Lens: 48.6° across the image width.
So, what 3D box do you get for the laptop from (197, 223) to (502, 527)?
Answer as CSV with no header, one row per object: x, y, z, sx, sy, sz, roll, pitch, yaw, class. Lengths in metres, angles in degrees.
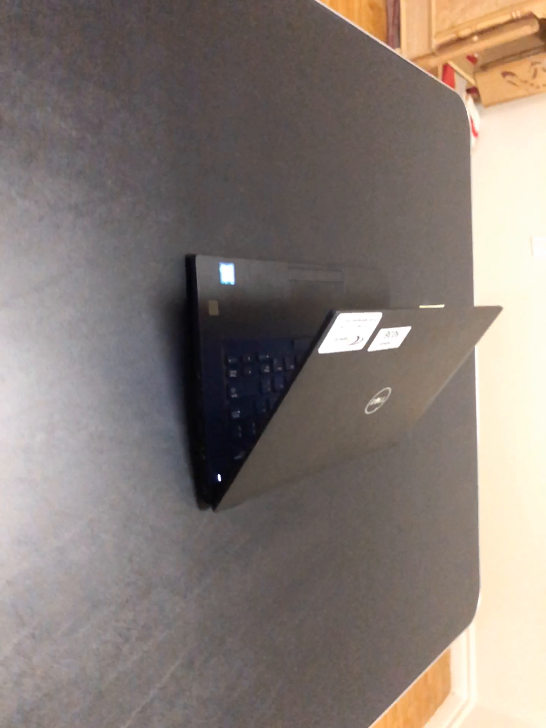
0.098,0.000,0.603,0.320,0.142,0.220,-7,95,-50,laptop
